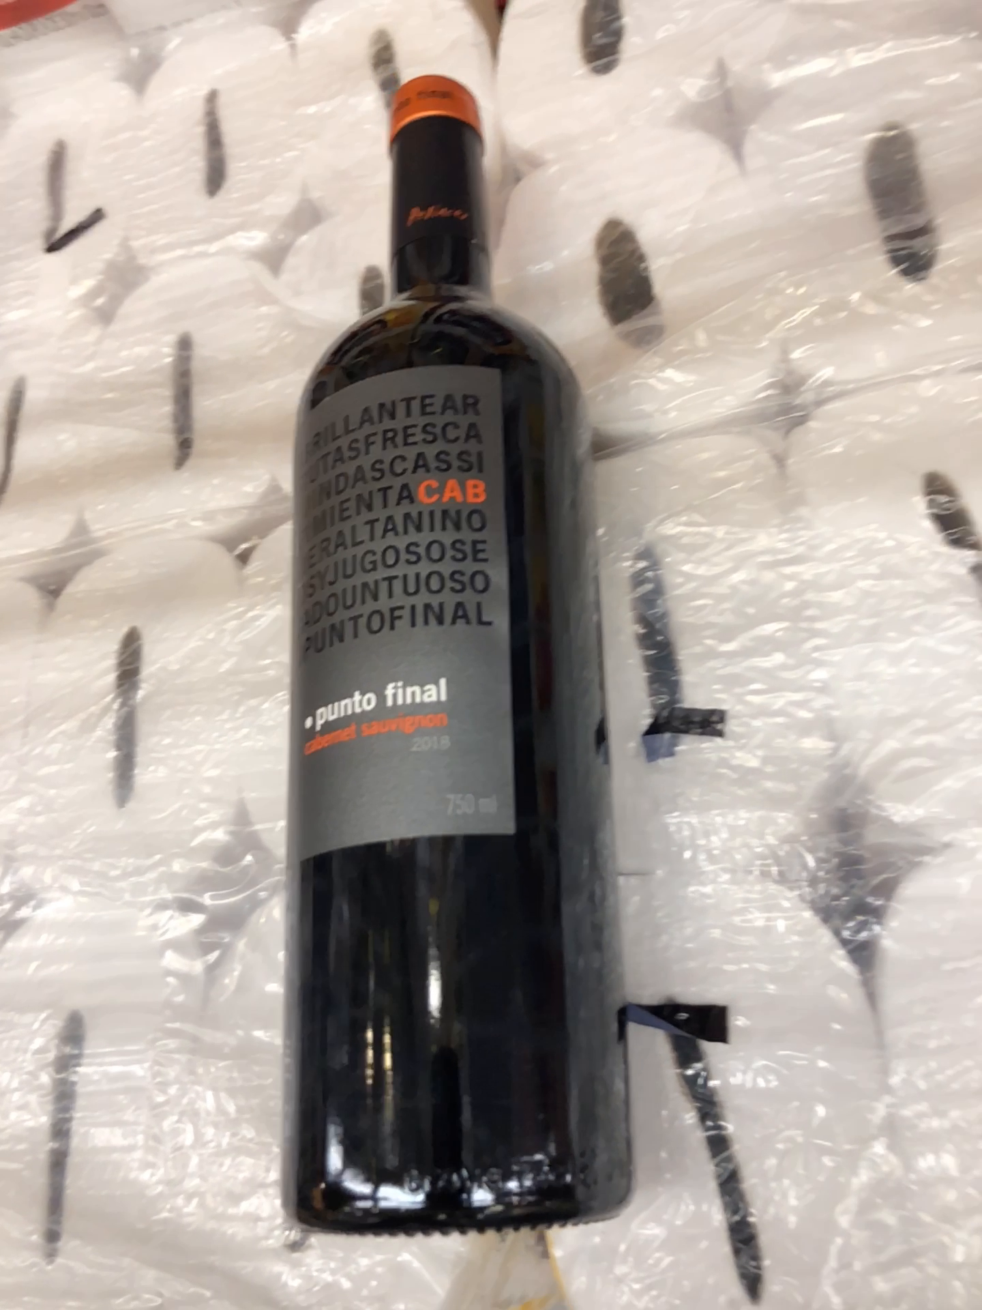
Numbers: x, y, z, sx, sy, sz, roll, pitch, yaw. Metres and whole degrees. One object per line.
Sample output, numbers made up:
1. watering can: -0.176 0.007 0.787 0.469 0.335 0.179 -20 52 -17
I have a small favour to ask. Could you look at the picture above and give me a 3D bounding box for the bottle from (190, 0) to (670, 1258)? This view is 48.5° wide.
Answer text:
1. bottle: -0.012 -0.035 0.263 0.070 0.060 0.311 -10 65 17
